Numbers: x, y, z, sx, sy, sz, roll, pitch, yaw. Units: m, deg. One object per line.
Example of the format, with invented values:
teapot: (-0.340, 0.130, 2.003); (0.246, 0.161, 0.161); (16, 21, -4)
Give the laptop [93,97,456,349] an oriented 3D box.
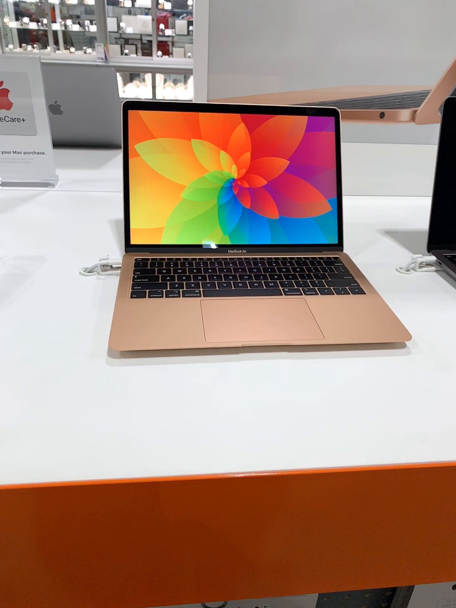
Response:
laptop: (0.021, -0.117, 0.542); (0.293, 0.170, 0.311); (-1, 31, -8)
